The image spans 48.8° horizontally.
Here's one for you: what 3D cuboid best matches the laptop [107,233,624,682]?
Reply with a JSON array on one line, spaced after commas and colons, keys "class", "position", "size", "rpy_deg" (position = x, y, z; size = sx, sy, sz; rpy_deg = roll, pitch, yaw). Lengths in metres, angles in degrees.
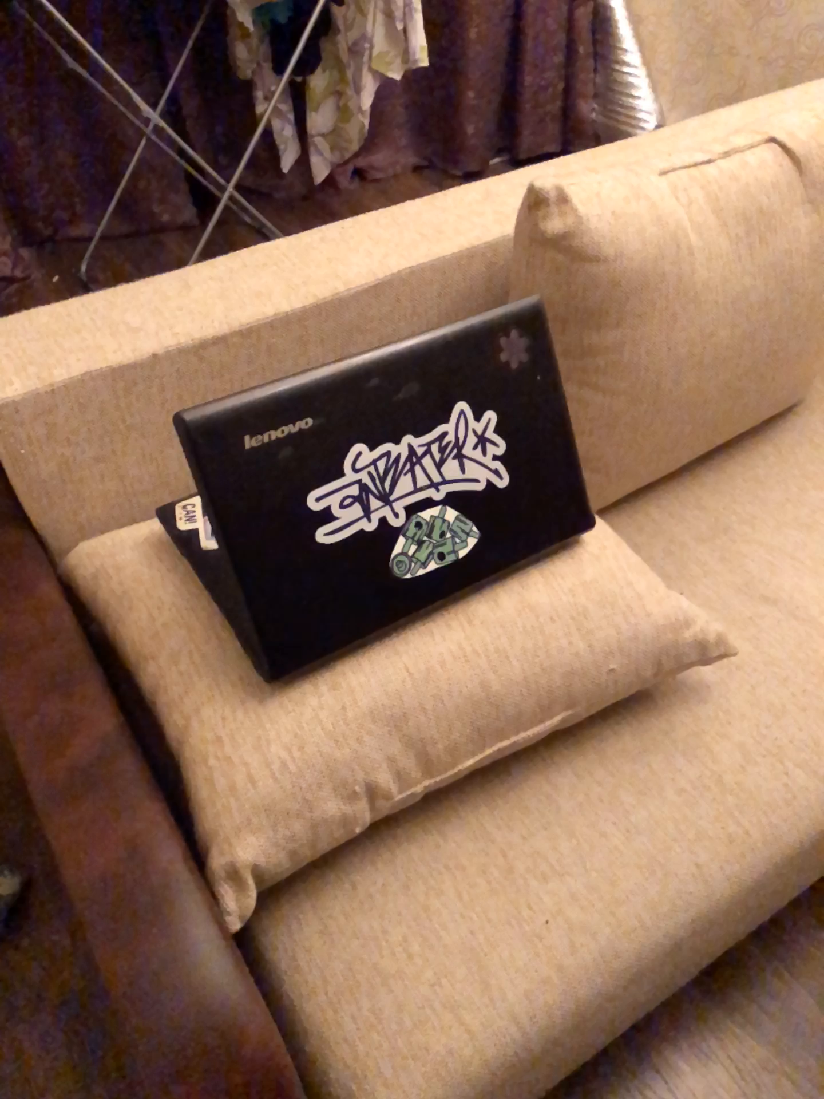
[{"class": "laptop", "position": [-0.039, -0.115, 0.939], "size": [0.413, 0.222, 0.268], "rpy_deg": [-24, 52, -25]}]
